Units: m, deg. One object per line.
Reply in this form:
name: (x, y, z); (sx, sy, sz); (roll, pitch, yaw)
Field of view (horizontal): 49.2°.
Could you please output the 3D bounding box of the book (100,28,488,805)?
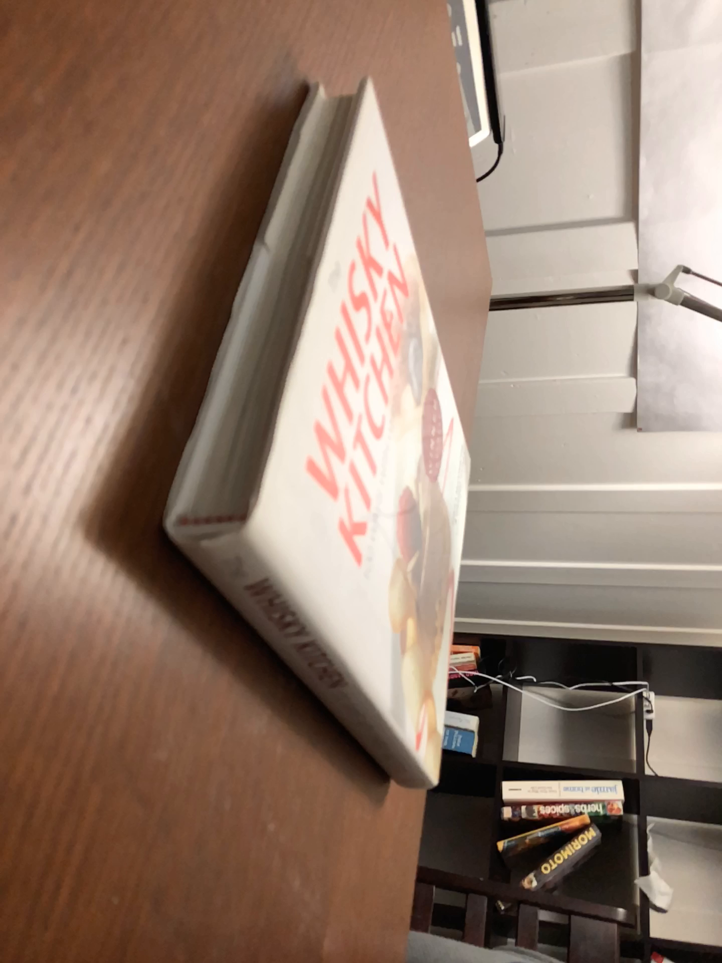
book: (0.009, -0.004, 0.352); (0.271, 0.040, 0.220); (65, 30, -52)
